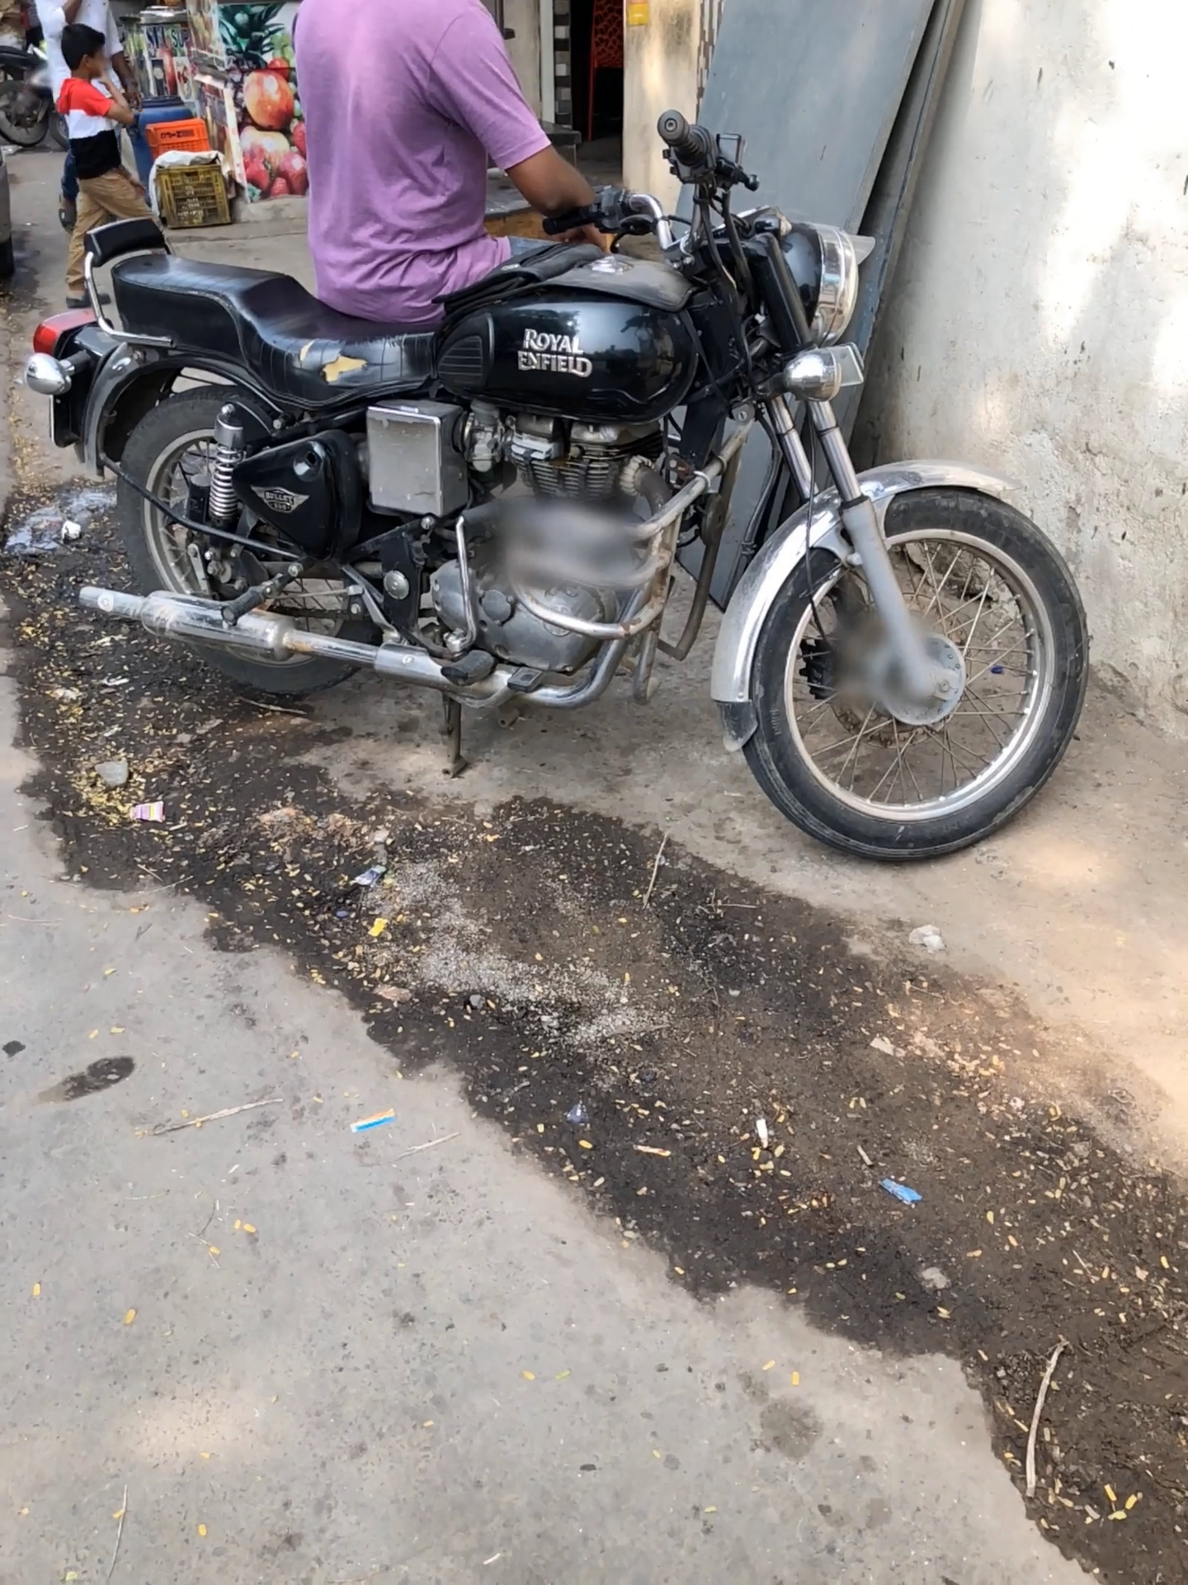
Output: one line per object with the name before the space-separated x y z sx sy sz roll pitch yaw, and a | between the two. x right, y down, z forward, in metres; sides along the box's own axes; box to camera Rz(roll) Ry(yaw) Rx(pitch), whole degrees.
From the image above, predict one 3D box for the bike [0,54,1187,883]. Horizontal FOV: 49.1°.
bike | -0.070 -0.681 2.452 1.918 1.173 0.844 9 32 18
